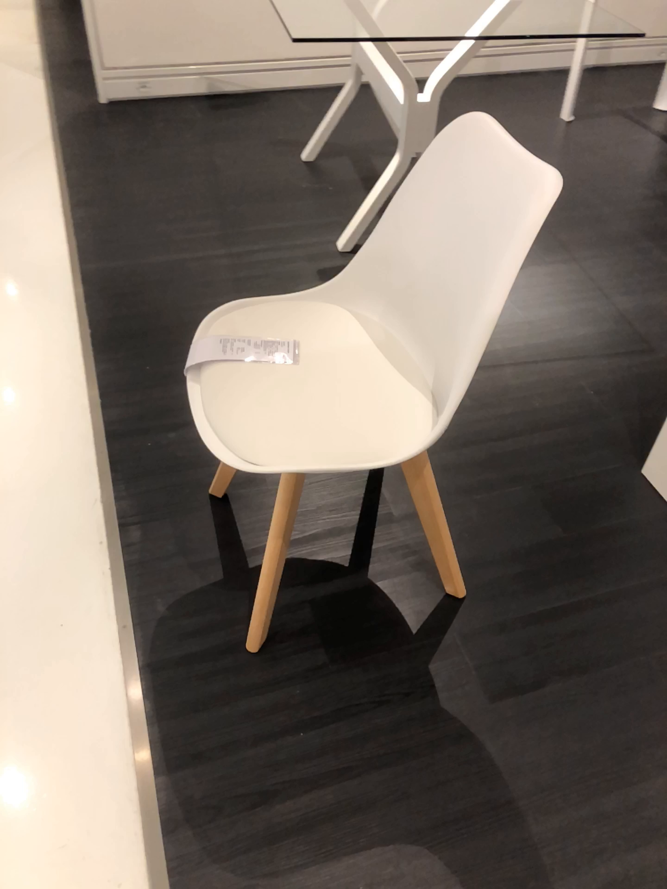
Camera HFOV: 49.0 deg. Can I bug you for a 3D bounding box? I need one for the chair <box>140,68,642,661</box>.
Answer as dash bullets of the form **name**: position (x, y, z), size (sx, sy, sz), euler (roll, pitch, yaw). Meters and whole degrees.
- **chair**: position (0.019, -0.124, 1.229), size (0.530, 0.784, 0.504), euler (-9, 44, -13)
